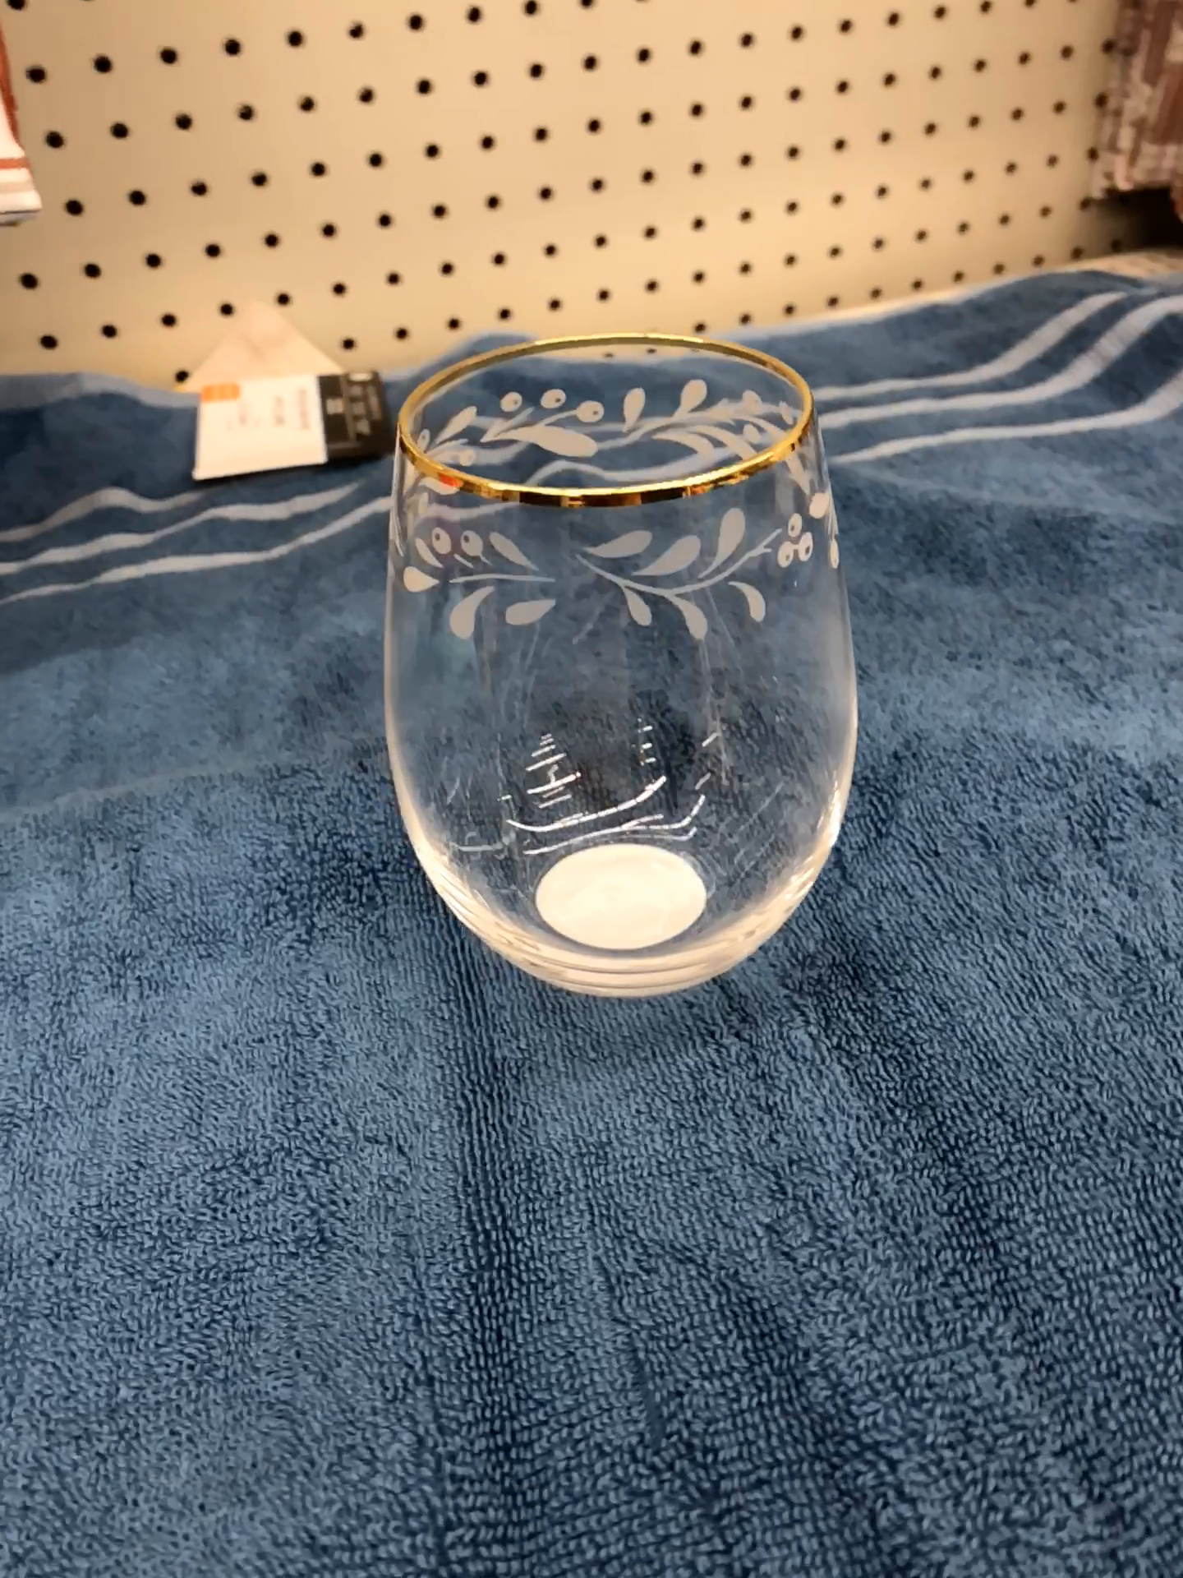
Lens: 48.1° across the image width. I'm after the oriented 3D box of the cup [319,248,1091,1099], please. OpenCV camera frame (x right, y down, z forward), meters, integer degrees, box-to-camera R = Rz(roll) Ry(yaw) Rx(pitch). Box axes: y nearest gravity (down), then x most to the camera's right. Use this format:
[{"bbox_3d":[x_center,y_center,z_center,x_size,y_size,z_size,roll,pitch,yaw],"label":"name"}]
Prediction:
[{"bbox_3d":[0.013,-0.025,0.232,0.090,0.100,0.090,-3,37,2],"label":"cup"}]
